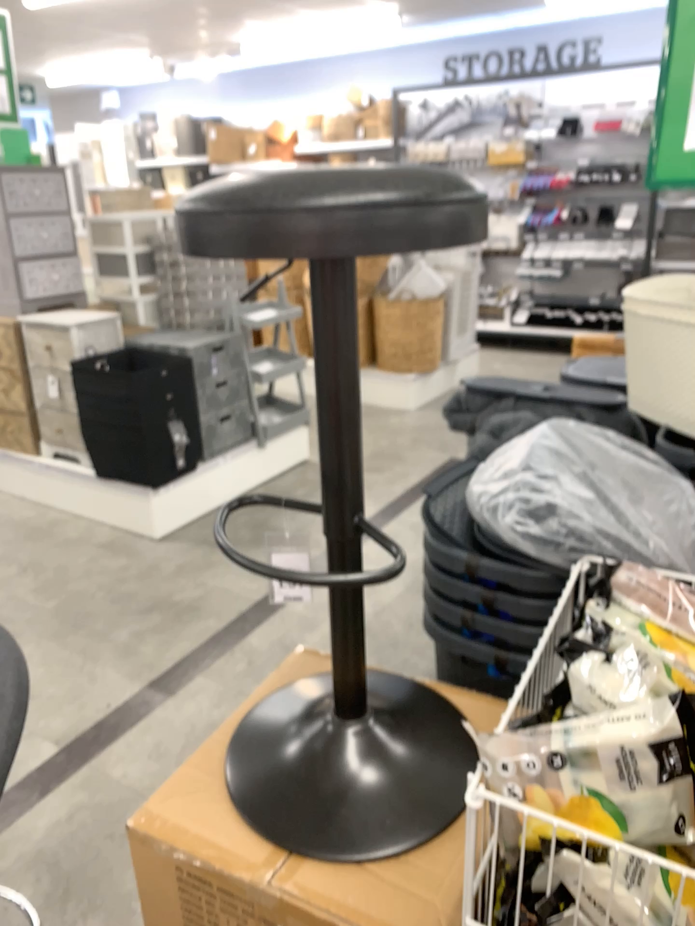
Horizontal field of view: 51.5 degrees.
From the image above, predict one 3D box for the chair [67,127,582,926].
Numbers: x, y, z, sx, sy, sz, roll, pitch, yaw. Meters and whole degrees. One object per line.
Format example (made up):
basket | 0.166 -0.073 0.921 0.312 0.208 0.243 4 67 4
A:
chair | 0.007 0.038 0.910 0.397 0.795 0.409 11 23 31
